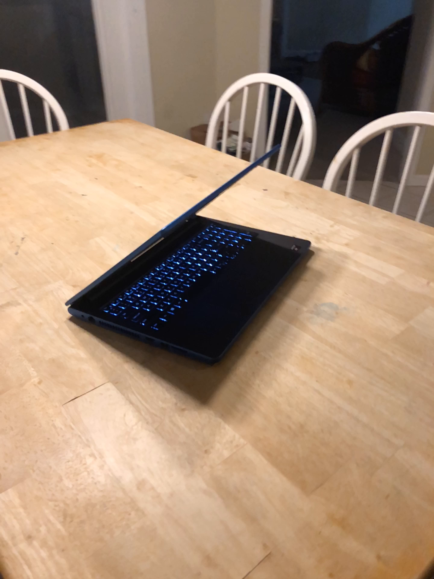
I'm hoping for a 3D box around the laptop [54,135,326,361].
[{"bbox_3d":[-0.014,-0.098,0.742,0.248,0.159,0.363,16,37,22],"label":"laptop"}]
